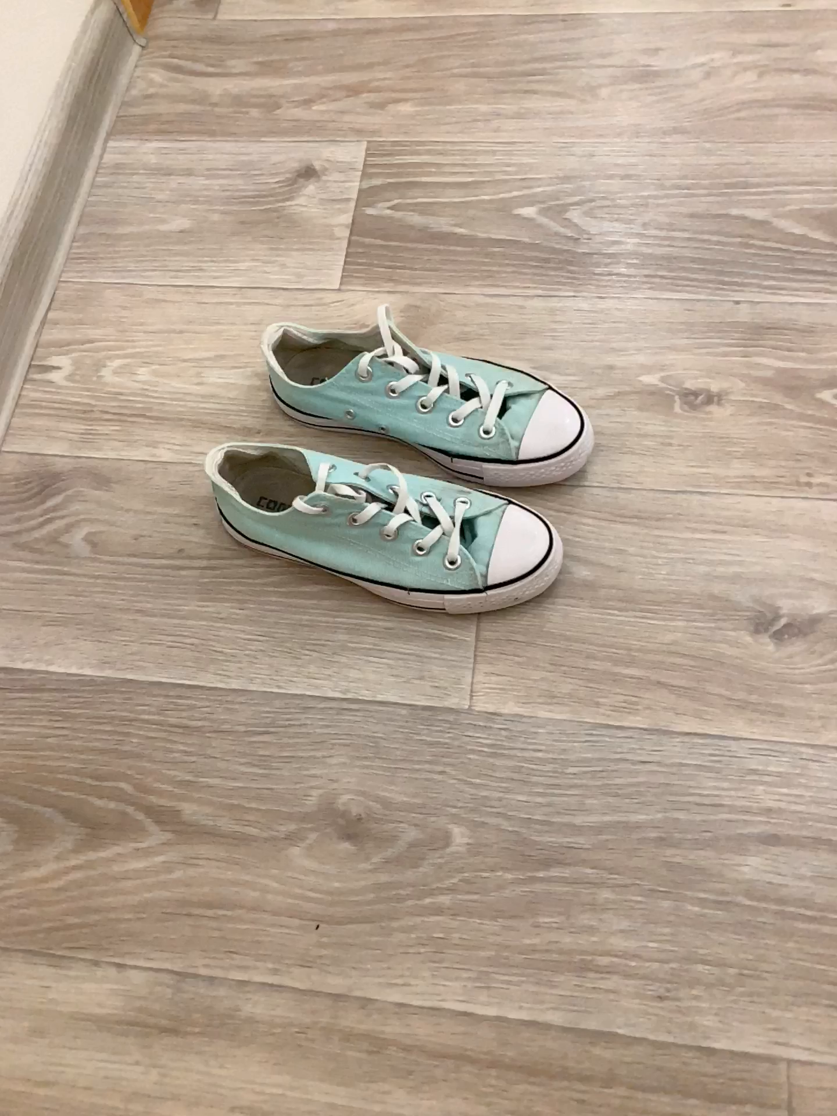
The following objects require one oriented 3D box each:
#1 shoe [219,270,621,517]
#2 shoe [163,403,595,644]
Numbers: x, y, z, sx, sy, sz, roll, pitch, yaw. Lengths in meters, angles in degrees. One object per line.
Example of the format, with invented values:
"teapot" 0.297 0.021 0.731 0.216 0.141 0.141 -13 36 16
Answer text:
"shoe" 0.001 -0.118 0.598 0.250 0.060 0.100 16 68 13
"shoe" -0.023 -0.024 0.550 0.250 0.060 0.092 11 67 11
